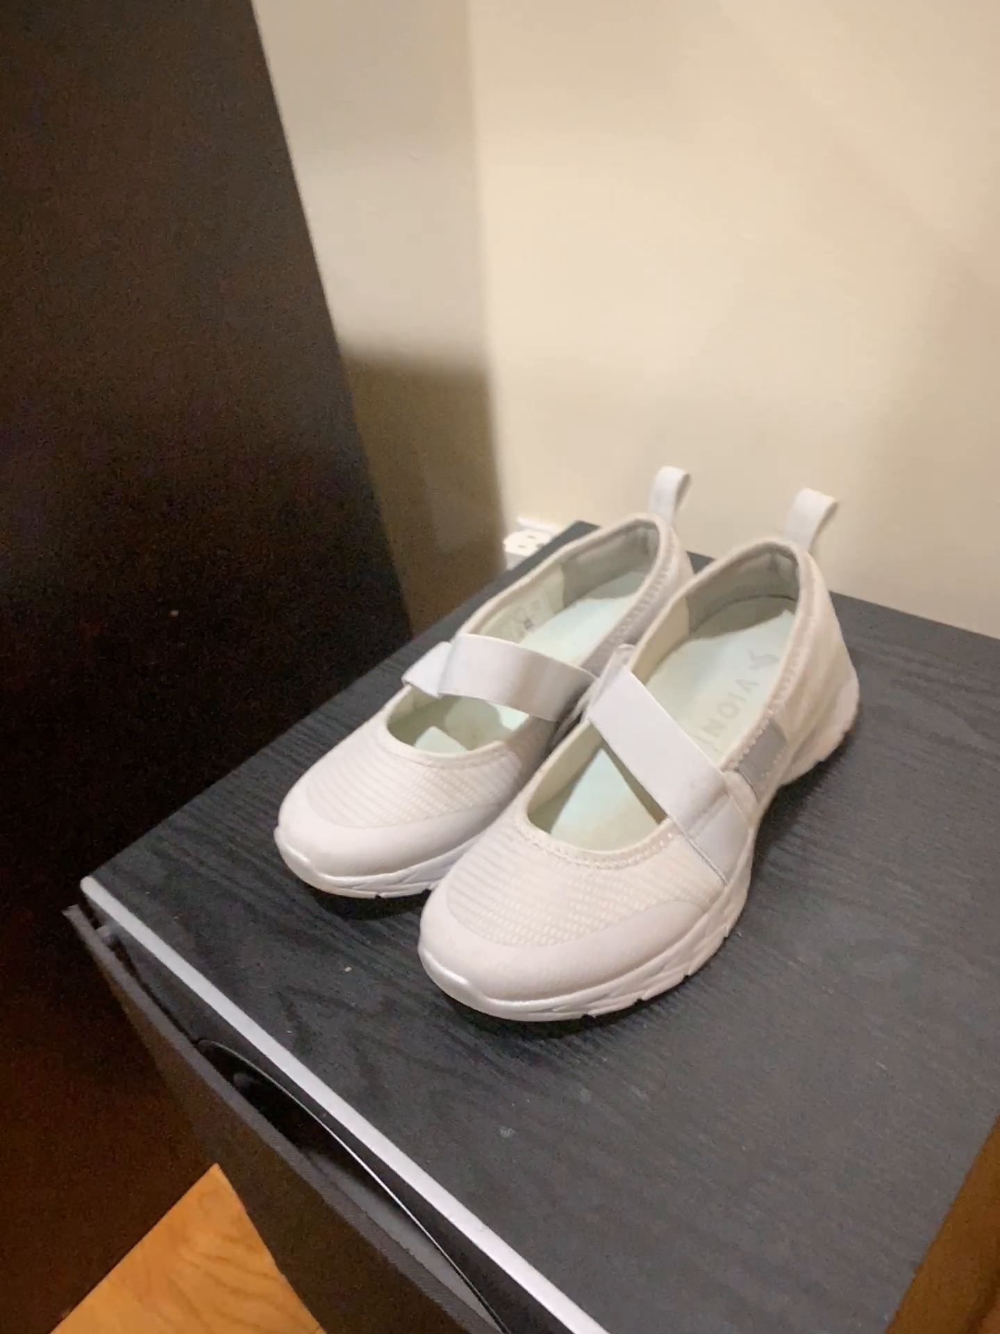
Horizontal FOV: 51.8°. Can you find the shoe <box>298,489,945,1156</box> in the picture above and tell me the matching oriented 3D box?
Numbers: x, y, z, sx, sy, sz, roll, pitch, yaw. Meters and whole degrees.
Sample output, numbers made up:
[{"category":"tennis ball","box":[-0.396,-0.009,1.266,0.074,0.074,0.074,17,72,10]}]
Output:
[{"category":"shoe","box":[0.062,0.038,0.400,0.103,0.093,0.250,24,49,38]}]

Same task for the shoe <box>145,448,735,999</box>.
[{"category":"shoe","box":[-0.009,0.007,0.460,0.103,0.093,0.250,24,49,38]}]
